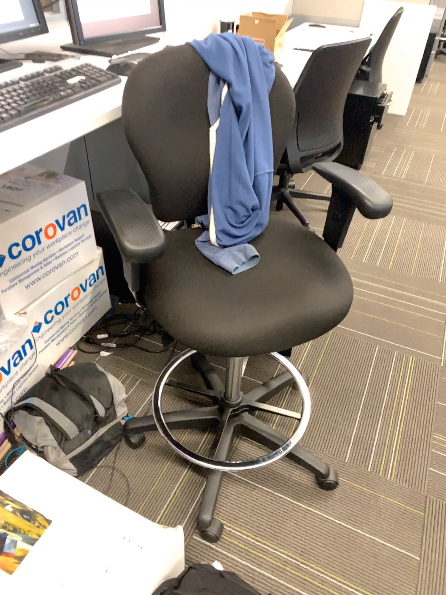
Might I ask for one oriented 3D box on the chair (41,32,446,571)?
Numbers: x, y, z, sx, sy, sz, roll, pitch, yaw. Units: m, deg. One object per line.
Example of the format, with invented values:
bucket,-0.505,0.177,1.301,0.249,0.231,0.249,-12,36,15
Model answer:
chair,0.023,-0.032,1.235,0.740,1.063,0.845,-11,41,-16
